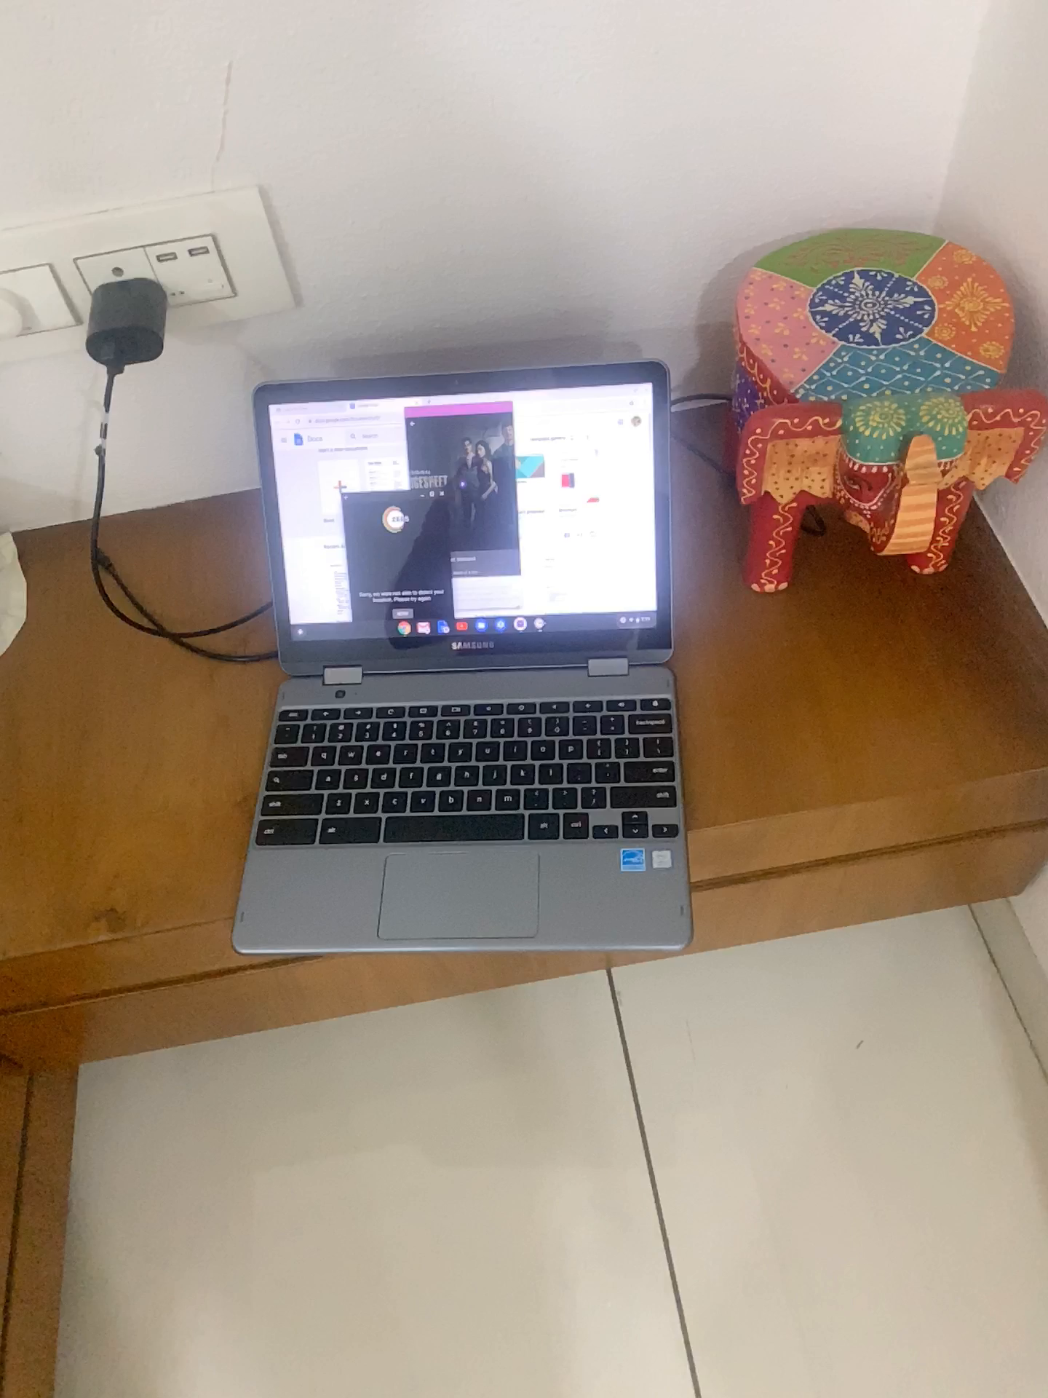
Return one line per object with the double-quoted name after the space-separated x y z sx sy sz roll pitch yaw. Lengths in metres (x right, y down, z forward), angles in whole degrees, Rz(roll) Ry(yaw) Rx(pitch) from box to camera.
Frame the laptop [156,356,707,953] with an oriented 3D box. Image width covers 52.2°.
-0.041 -0.036 0.770 0.314 0.164 0.384 -2 58 7 "laptop"
